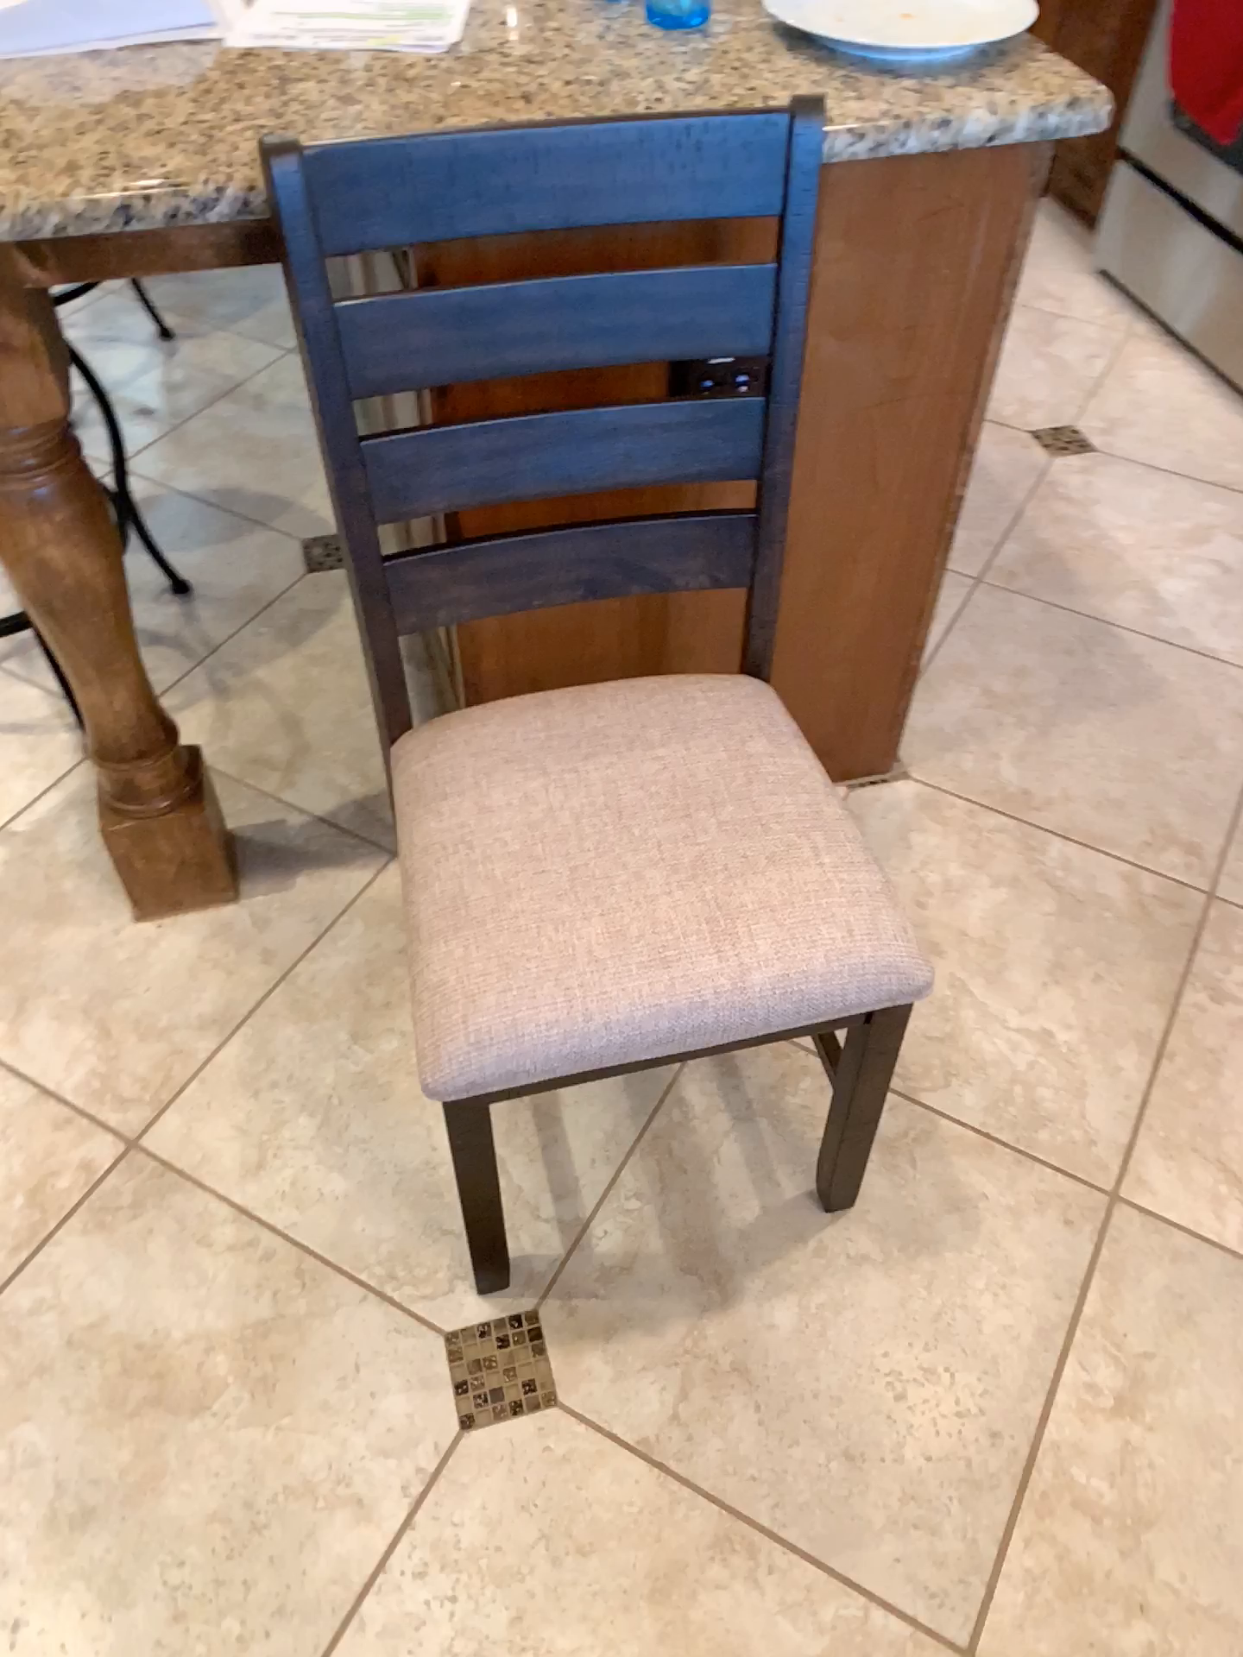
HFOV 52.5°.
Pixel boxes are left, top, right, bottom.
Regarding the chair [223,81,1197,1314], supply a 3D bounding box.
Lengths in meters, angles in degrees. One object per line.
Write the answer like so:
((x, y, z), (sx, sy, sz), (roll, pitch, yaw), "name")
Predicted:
((0.001, -0.051, 1.122), (0.467, 0.910, 0.526), (-11, 50, -10), "chair")
